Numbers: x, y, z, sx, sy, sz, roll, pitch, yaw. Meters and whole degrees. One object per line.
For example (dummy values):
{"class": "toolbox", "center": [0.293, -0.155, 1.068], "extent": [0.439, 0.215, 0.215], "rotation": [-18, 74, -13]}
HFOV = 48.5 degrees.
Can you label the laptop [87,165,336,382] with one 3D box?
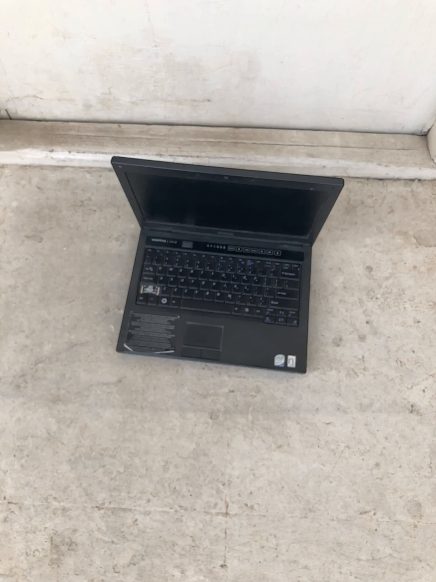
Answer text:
{"class": "laptop", "center": [-0.002, -0.014, 0.716], "extent": [0.292, 0.219, 0.214], "rotation": [6, 69, 3]}
